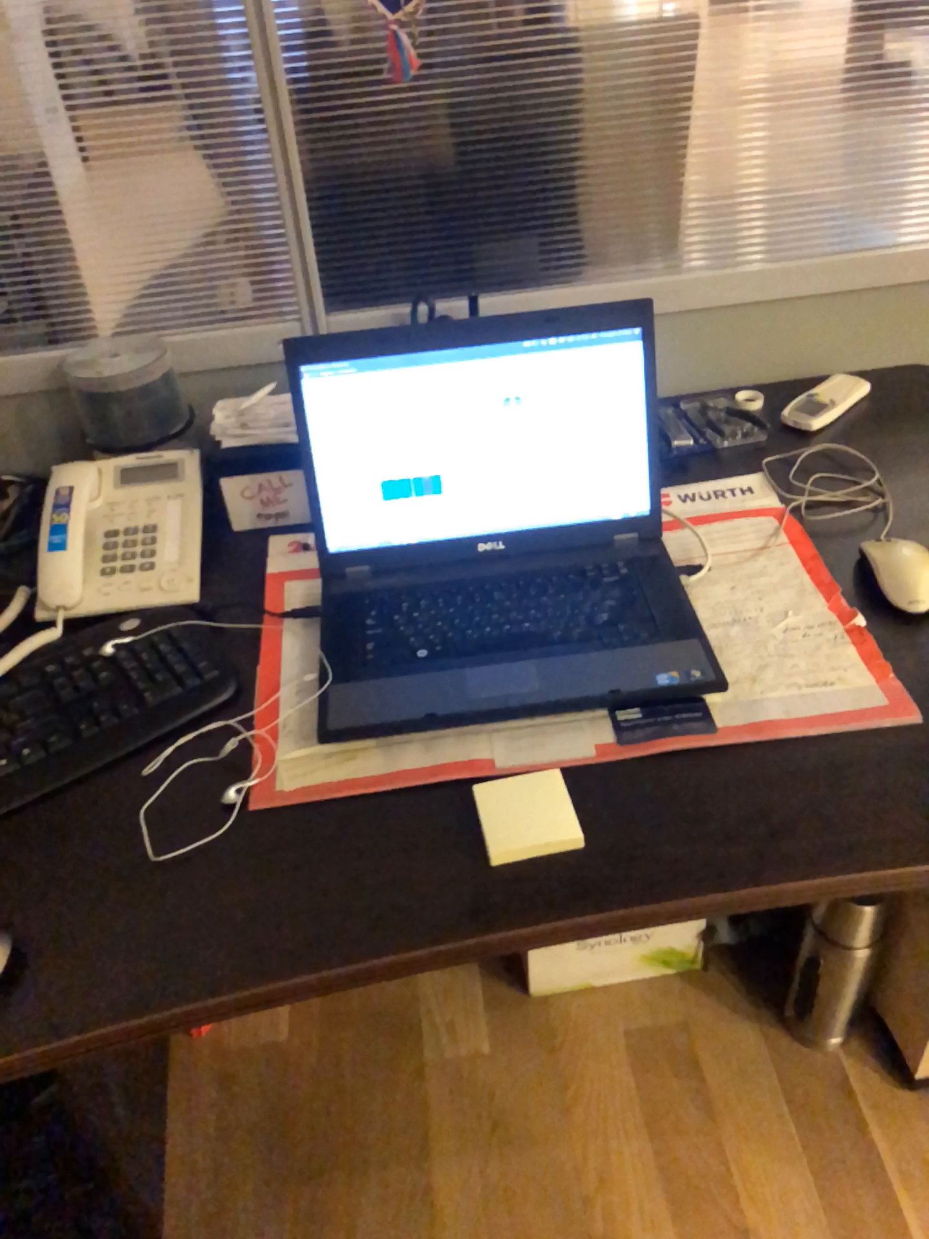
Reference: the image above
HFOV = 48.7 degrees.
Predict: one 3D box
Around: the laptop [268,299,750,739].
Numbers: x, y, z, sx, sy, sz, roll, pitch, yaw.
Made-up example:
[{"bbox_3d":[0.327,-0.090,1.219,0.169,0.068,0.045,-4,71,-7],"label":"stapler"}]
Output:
[{"bbox_3d":[0.029,-0.091,0.833,0.317,0.209,0.257,-8,38,-1],"label":"laptop"}]
